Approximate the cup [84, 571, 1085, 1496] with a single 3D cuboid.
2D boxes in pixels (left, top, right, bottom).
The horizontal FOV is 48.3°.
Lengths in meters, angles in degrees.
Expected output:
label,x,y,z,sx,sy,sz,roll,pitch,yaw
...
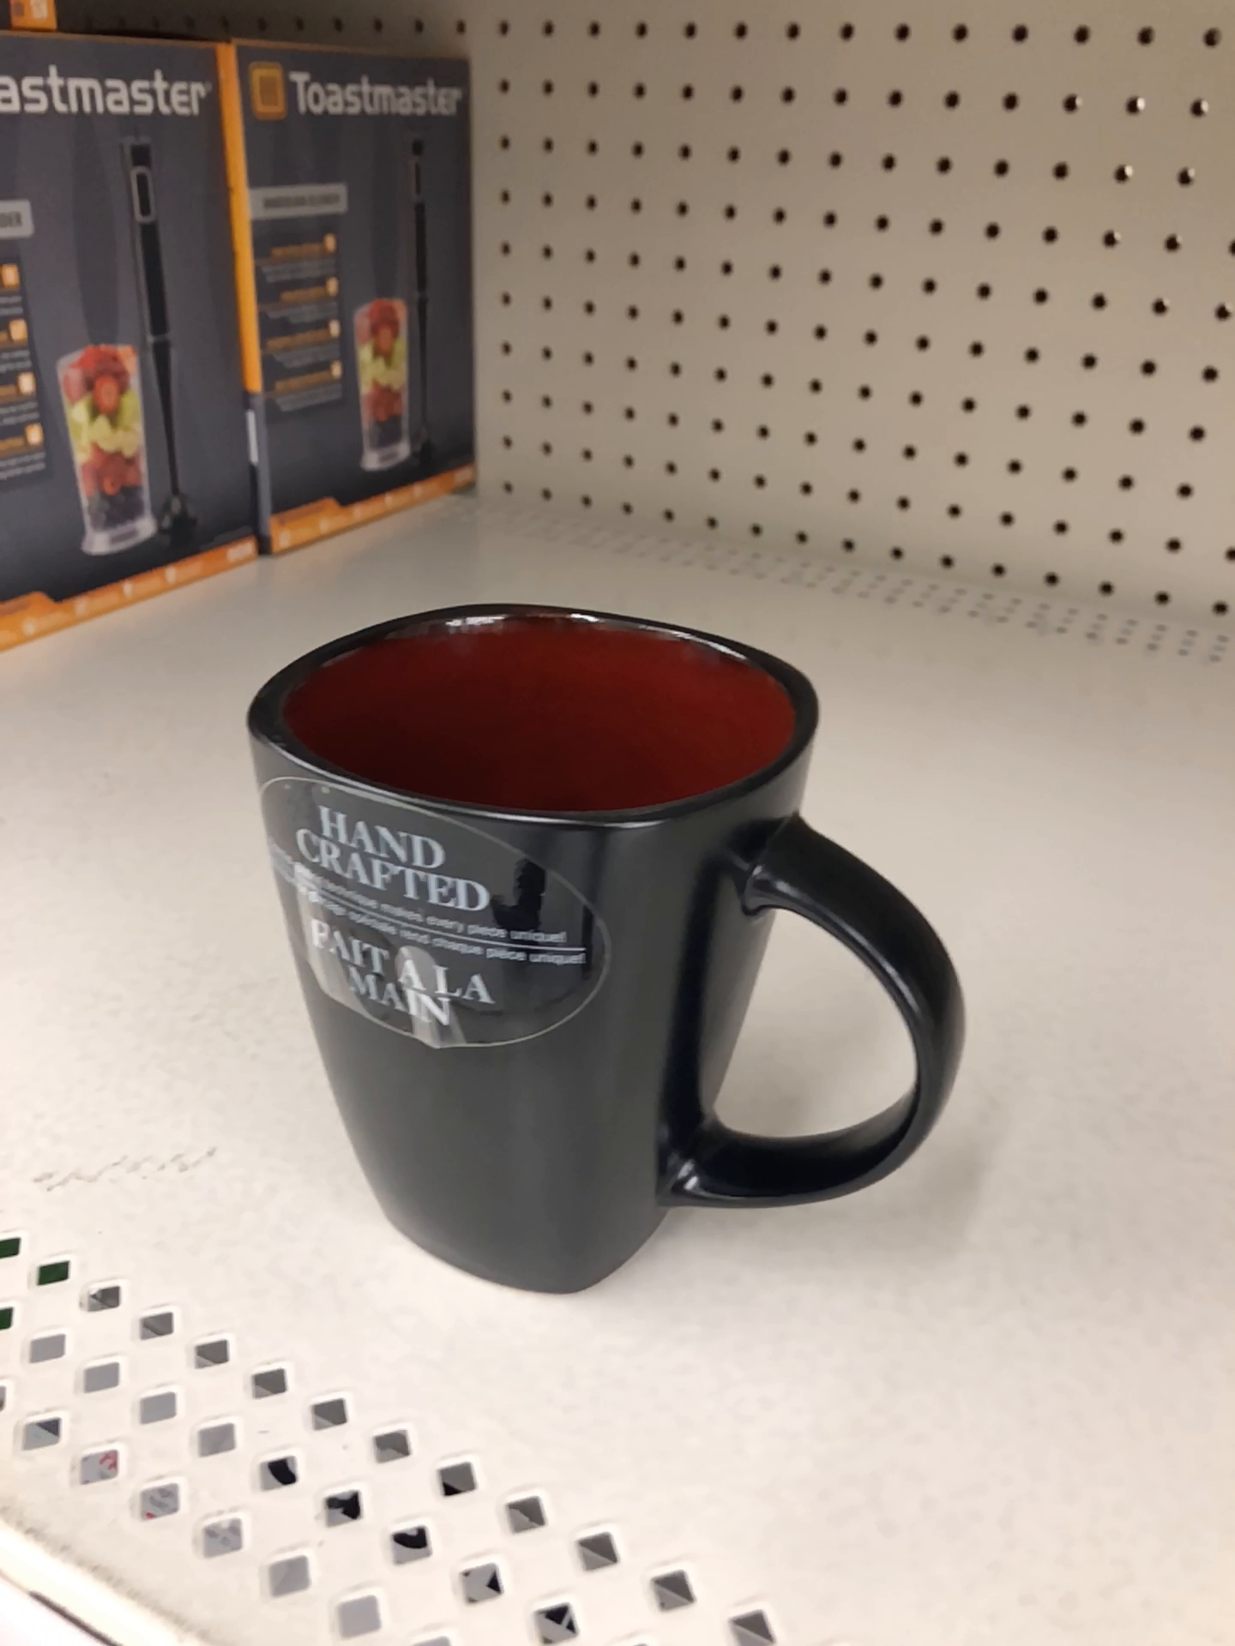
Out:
label,x,y,z,sx,sy,sz,roll,pitch,yaw
cup,-0.002,0.024,0.259,0.143,0.099,0.100,14,30,23
